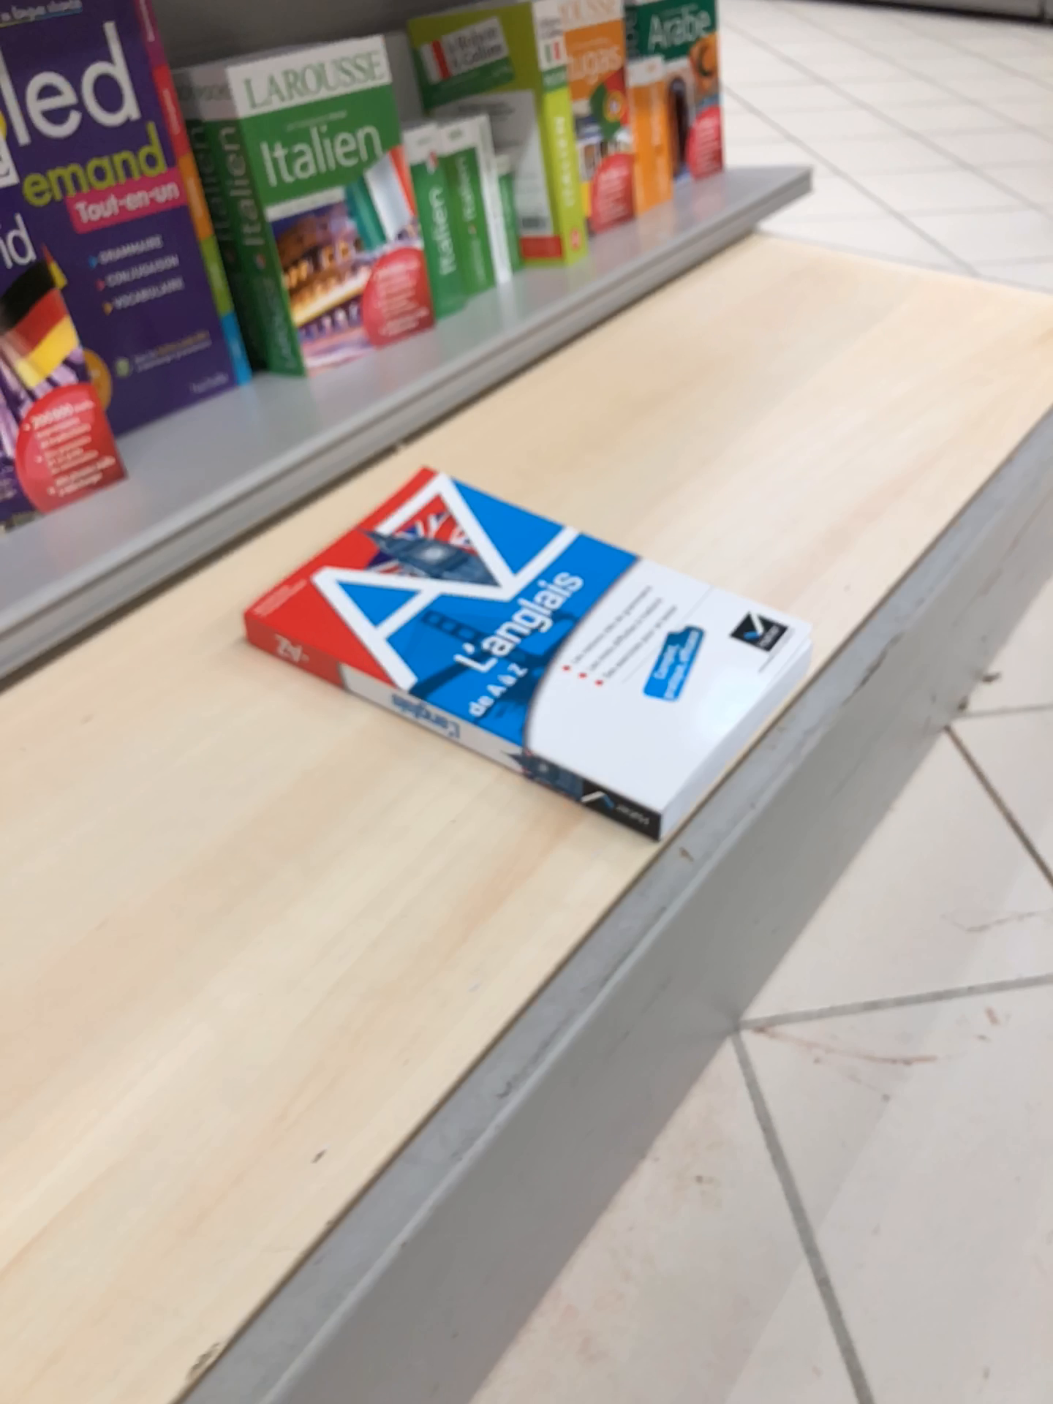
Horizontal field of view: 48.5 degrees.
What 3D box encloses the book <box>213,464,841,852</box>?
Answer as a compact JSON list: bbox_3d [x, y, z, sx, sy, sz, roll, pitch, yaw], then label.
[{"bbox_3d":[-0.001,-0.034,0.519,0.234,0.030,0.144,23,44,26],"label":"book"}]
